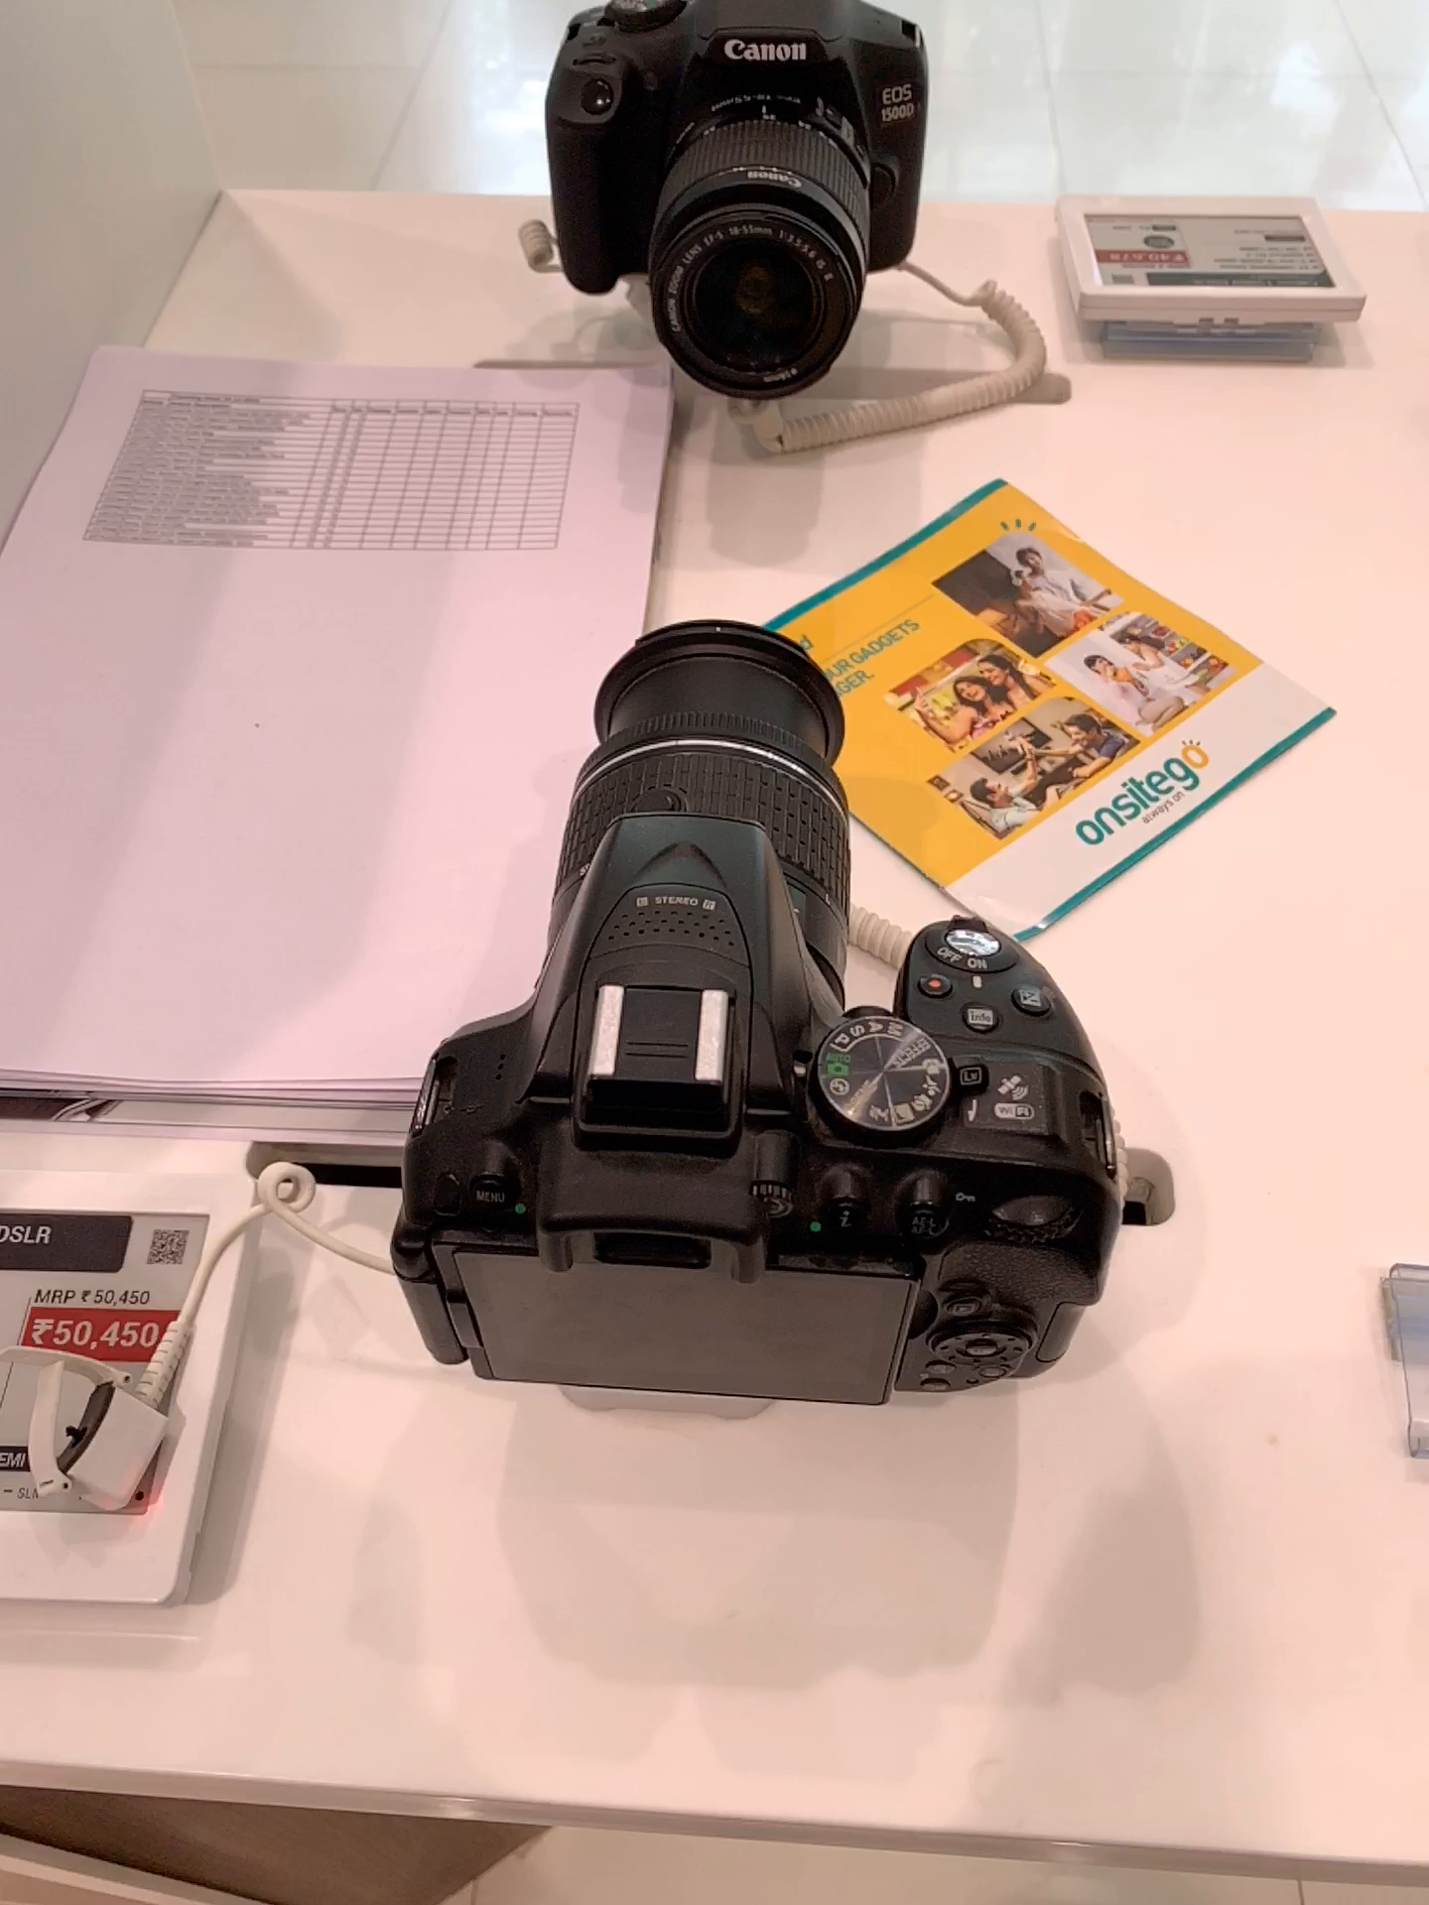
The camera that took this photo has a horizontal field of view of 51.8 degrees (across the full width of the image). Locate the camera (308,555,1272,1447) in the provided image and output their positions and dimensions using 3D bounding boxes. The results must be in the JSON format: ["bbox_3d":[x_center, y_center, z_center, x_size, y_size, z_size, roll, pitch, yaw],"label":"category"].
[{"bbox_3d":[0.013,0.009,0.252,0.118,0.100,0.107,4,53,4],"label":"camera"}]
